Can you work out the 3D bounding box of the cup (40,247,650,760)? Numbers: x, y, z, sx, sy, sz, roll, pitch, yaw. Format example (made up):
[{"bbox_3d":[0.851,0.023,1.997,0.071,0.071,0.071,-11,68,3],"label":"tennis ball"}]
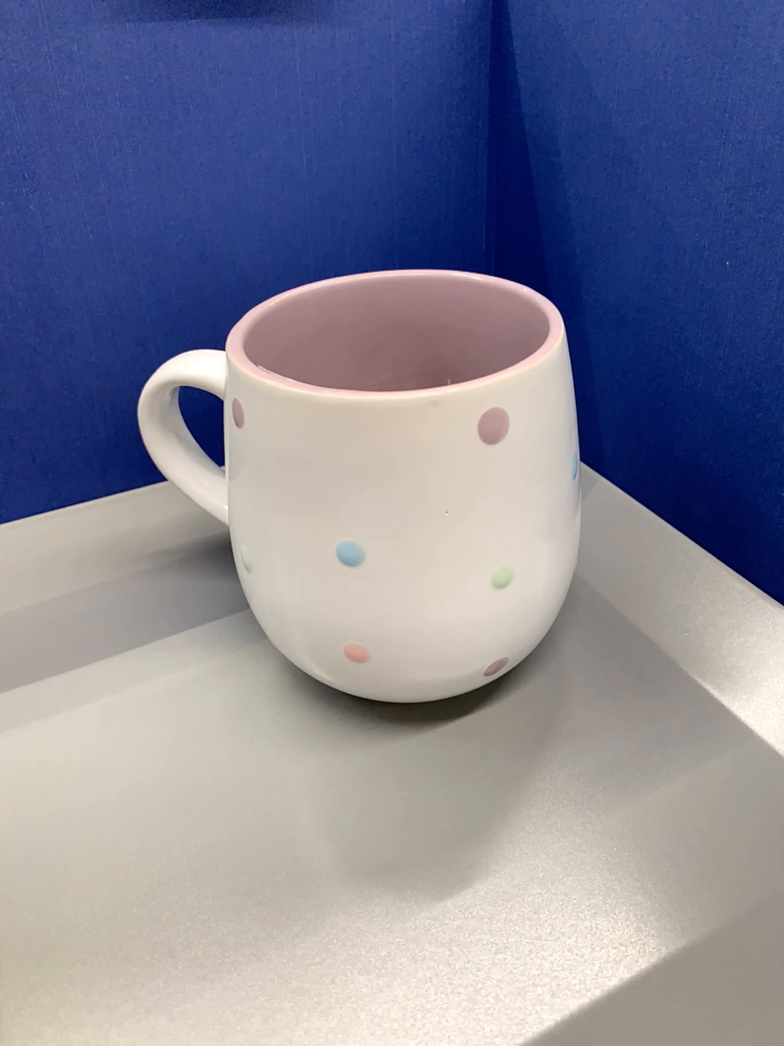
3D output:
[{"bbox_3d":[-0.008,-0.018,0.239,0.130,0.088,0.097,15,36,25],"label":"cup"}]
